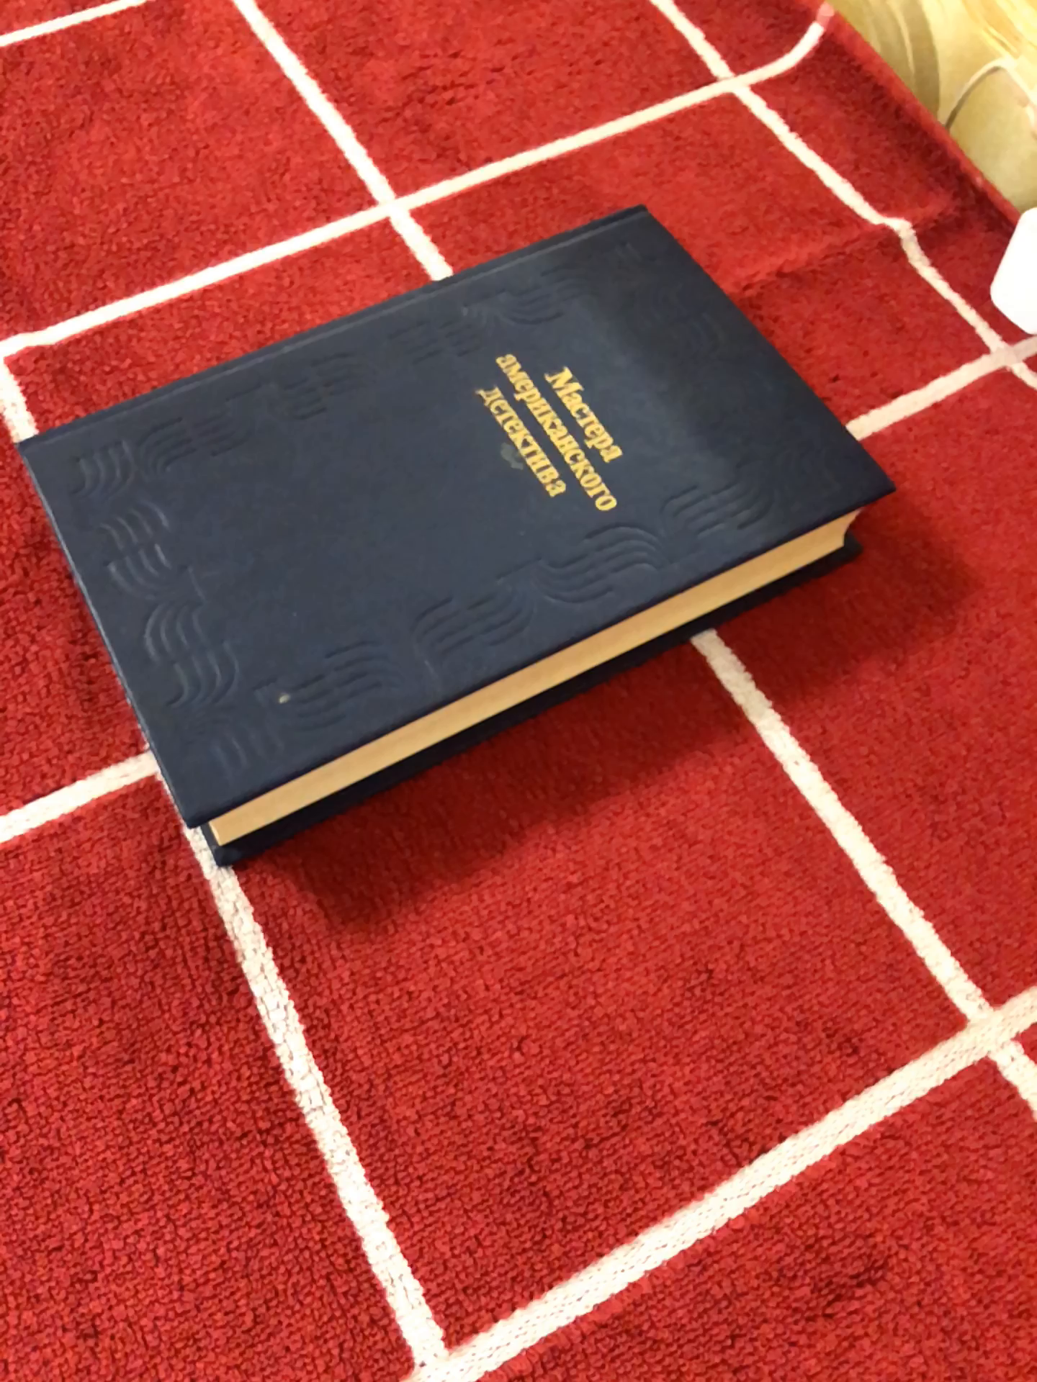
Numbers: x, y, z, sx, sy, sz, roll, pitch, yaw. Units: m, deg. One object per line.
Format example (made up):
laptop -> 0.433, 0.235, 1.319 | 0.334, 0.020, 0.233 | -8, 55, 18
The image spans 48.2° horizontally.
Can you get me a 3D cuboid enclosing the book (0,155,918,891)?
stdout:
book -> -0.020, -0.057, 0.307 | 0.193, 0.030, 0.143 | -26, 65, -14
